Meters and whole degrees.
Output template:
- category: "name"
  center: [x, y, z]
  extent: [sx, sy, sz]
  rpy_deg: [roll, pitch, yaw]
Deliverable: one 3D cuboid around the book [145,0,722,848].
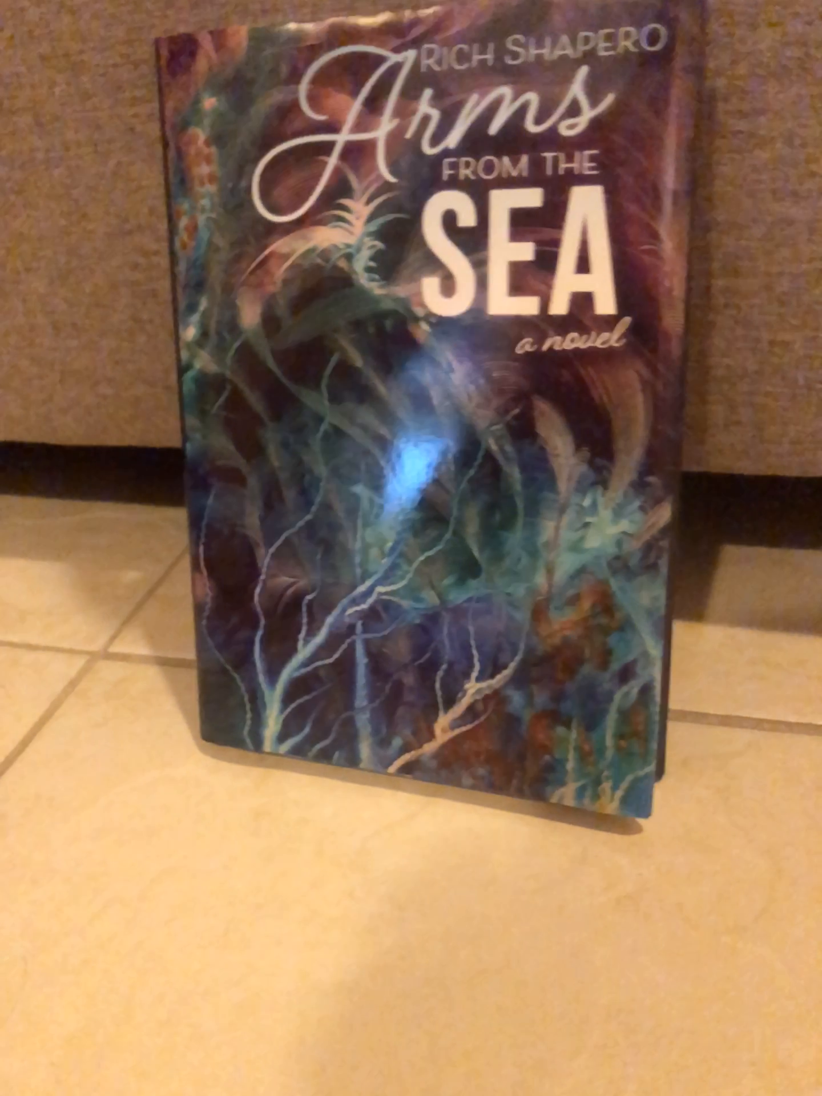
- category: "book"
  center: [0.003, -0.034, 0.278]
  extent: [0.156, 0.228, 0.030]
  rpy_deg: [5, 14, 19]
